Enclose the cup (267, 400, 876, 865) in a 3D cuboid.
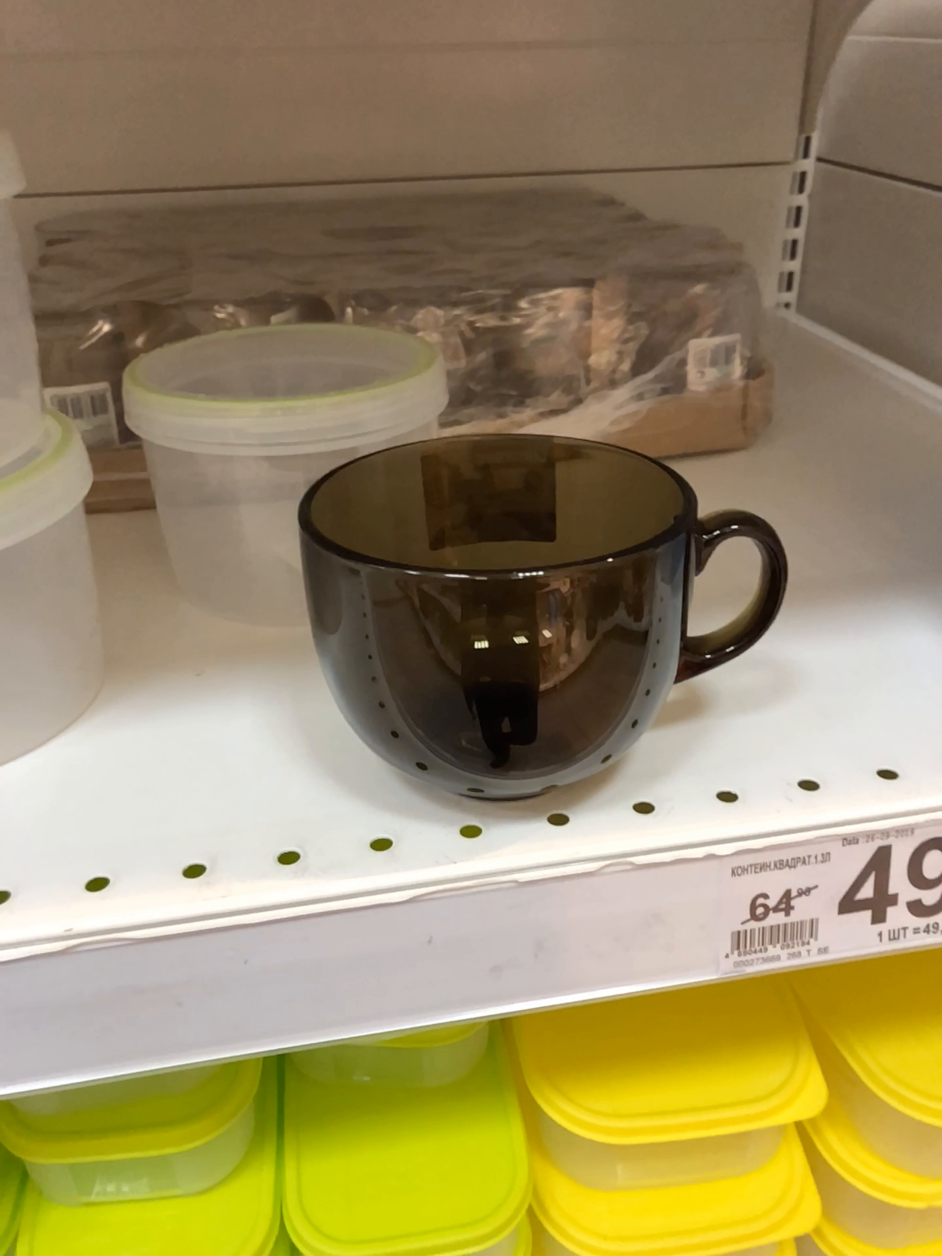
[{"bbox_3d":[0.018,-0.007,0.292,0.135,0.071,0.106,-7,31,-10],"label":"cup"}]
